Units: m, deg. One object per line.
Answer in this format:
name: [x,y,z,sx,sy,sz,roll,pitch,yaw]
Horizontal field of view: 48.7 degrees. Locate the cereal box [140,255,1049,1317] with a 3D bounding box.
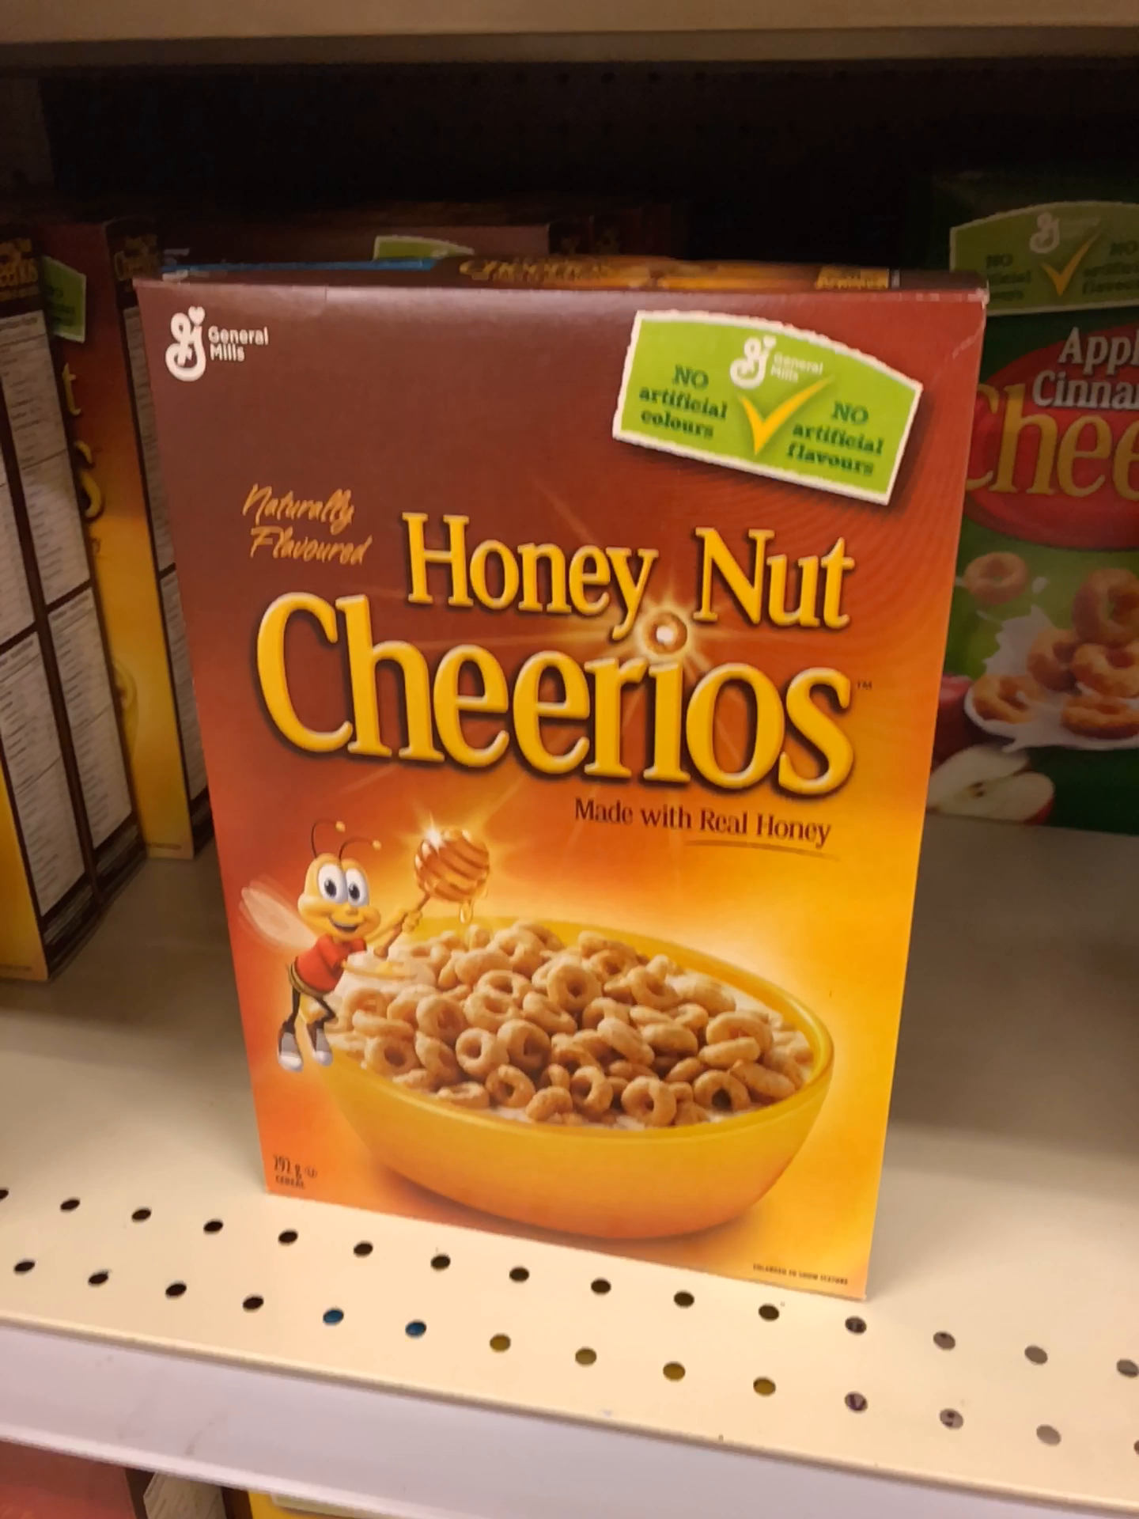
cereal box: [0.005,0.012,0.341,0.190,0.268,0.060,6,26,12]
